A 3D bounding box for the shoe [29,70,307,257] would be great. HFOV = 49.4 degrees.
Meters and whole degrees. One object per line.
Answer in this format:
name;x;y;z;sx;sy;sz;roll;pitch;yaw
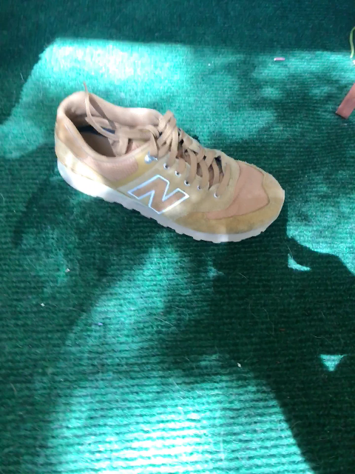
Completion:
shoe;-0.005;-0.079;0.428;0.260;0.100;0.111;14;60;2
